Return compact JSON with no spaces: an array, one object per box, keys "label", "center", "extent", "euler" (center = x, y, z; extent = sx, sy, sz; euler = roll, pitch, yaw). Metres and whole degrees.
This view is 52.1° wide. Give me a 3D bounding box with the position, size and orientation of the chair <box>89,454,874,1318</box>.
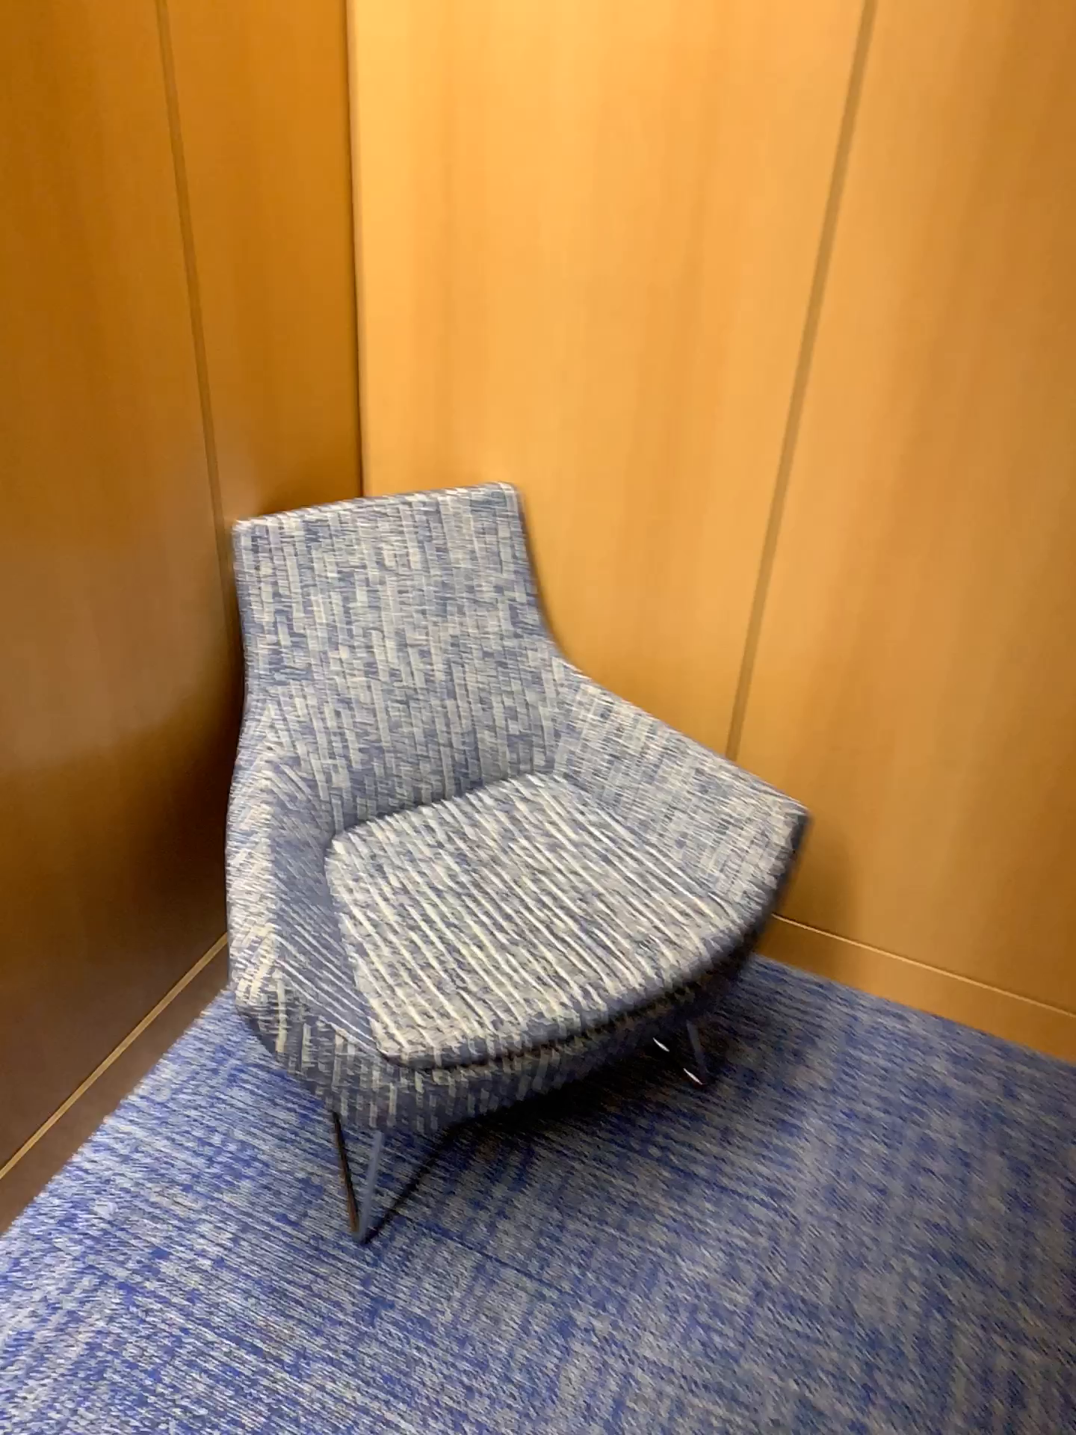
[{"label":"chair","center":[-0.108,0.157,1.470],"extent":[0.701,0.746,0.616],"euler":[-15,38,-27]}]
